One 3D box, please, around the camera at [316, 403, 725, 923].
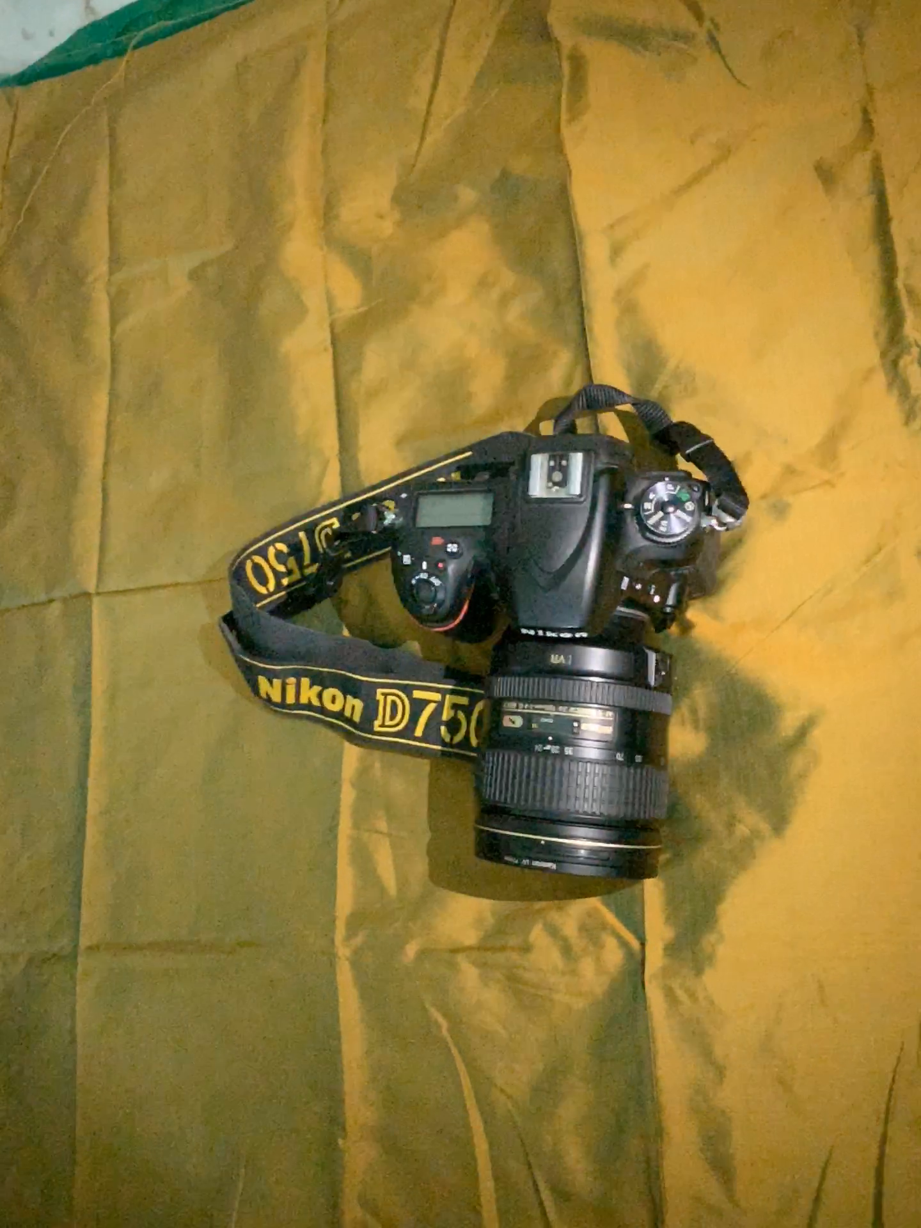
[{"bbox_3d":[0.035,0.024,0.414,0.150,0.101,0.190,-1,79,19],"label":"camera"}]
